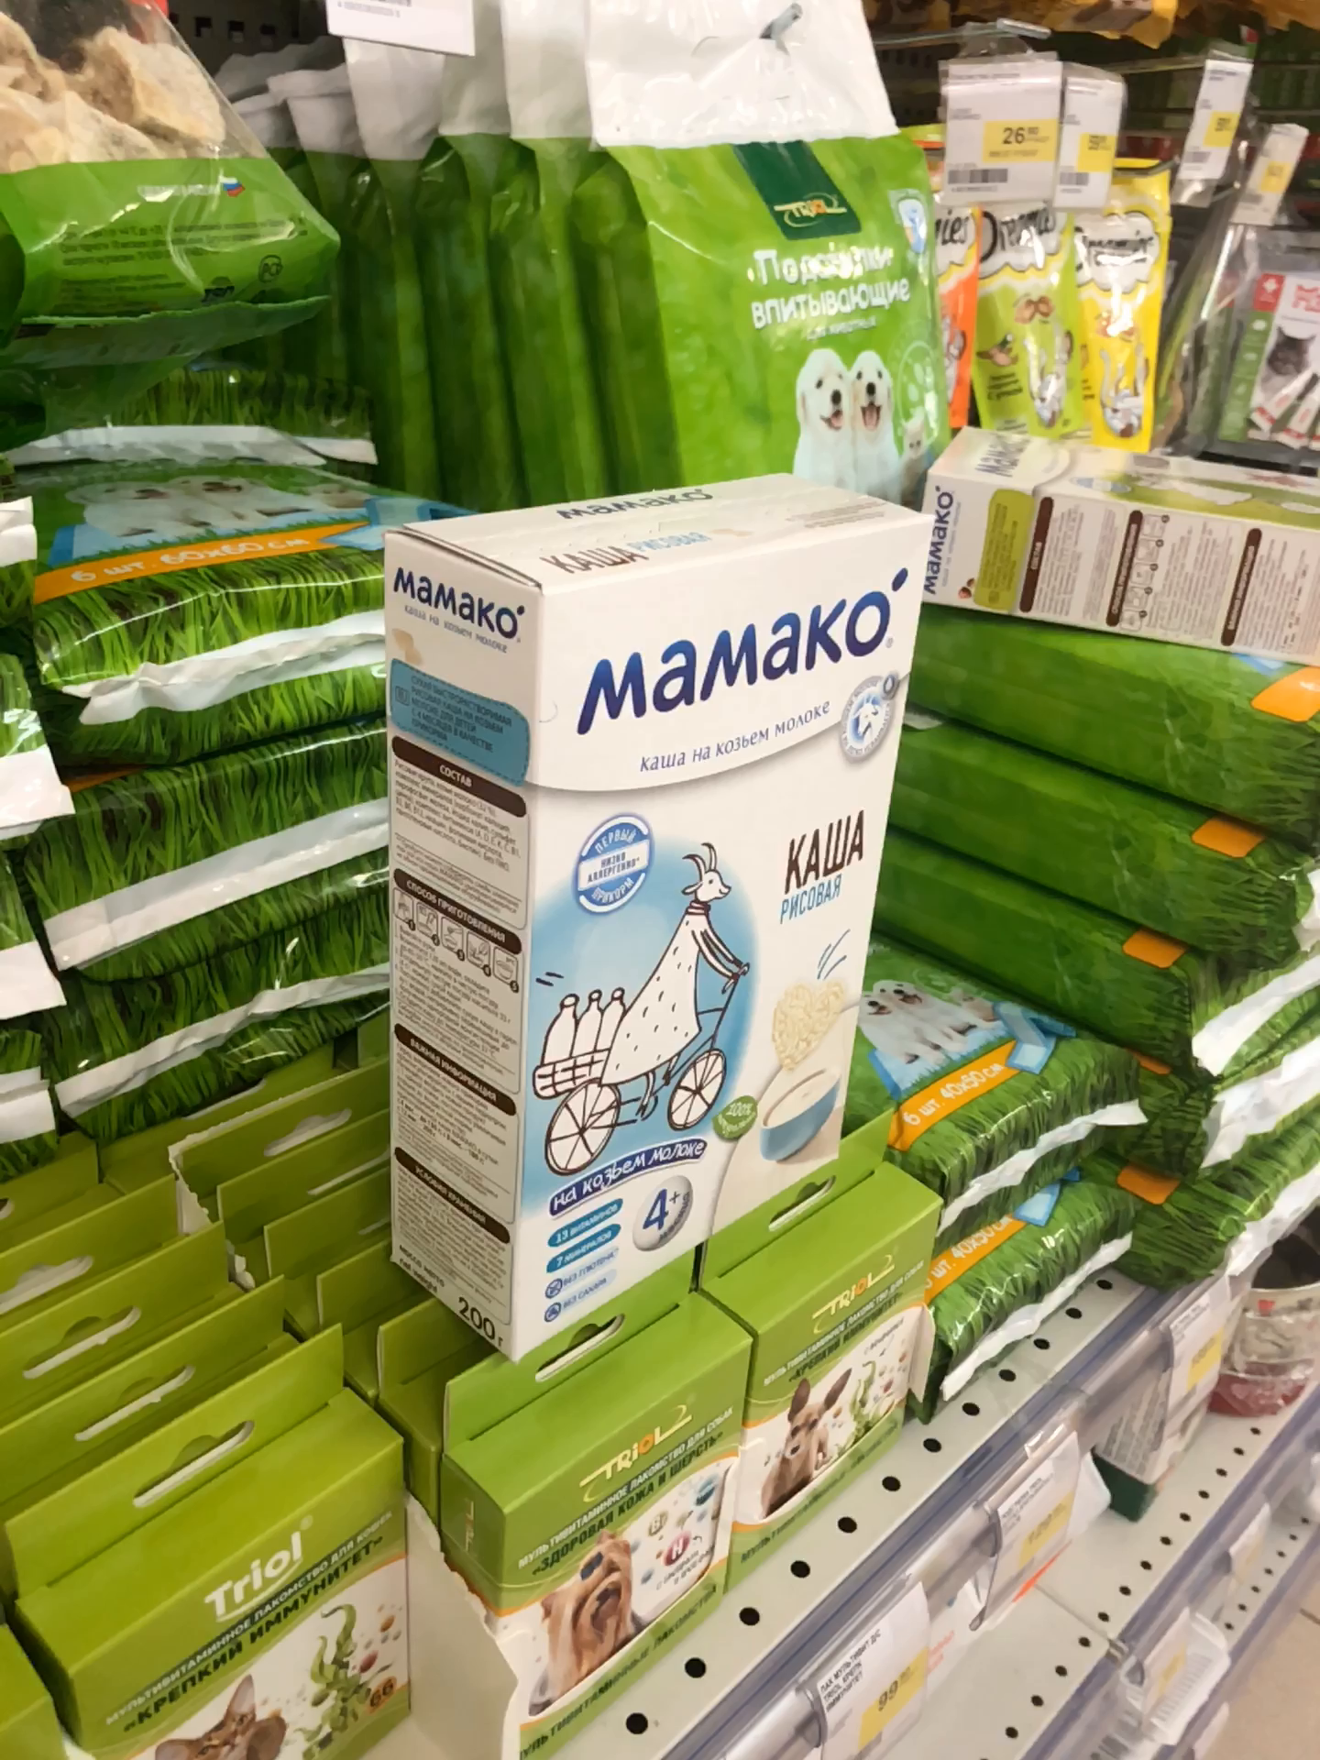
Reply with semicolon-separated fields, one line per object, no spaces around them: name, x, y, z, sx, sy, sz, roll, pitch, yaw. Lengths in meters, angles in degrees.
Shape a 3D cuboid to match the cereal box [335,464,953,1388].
cereal box;-0.005;0.005;0.378;0.140;0.199;0.060;-21;35;-41
